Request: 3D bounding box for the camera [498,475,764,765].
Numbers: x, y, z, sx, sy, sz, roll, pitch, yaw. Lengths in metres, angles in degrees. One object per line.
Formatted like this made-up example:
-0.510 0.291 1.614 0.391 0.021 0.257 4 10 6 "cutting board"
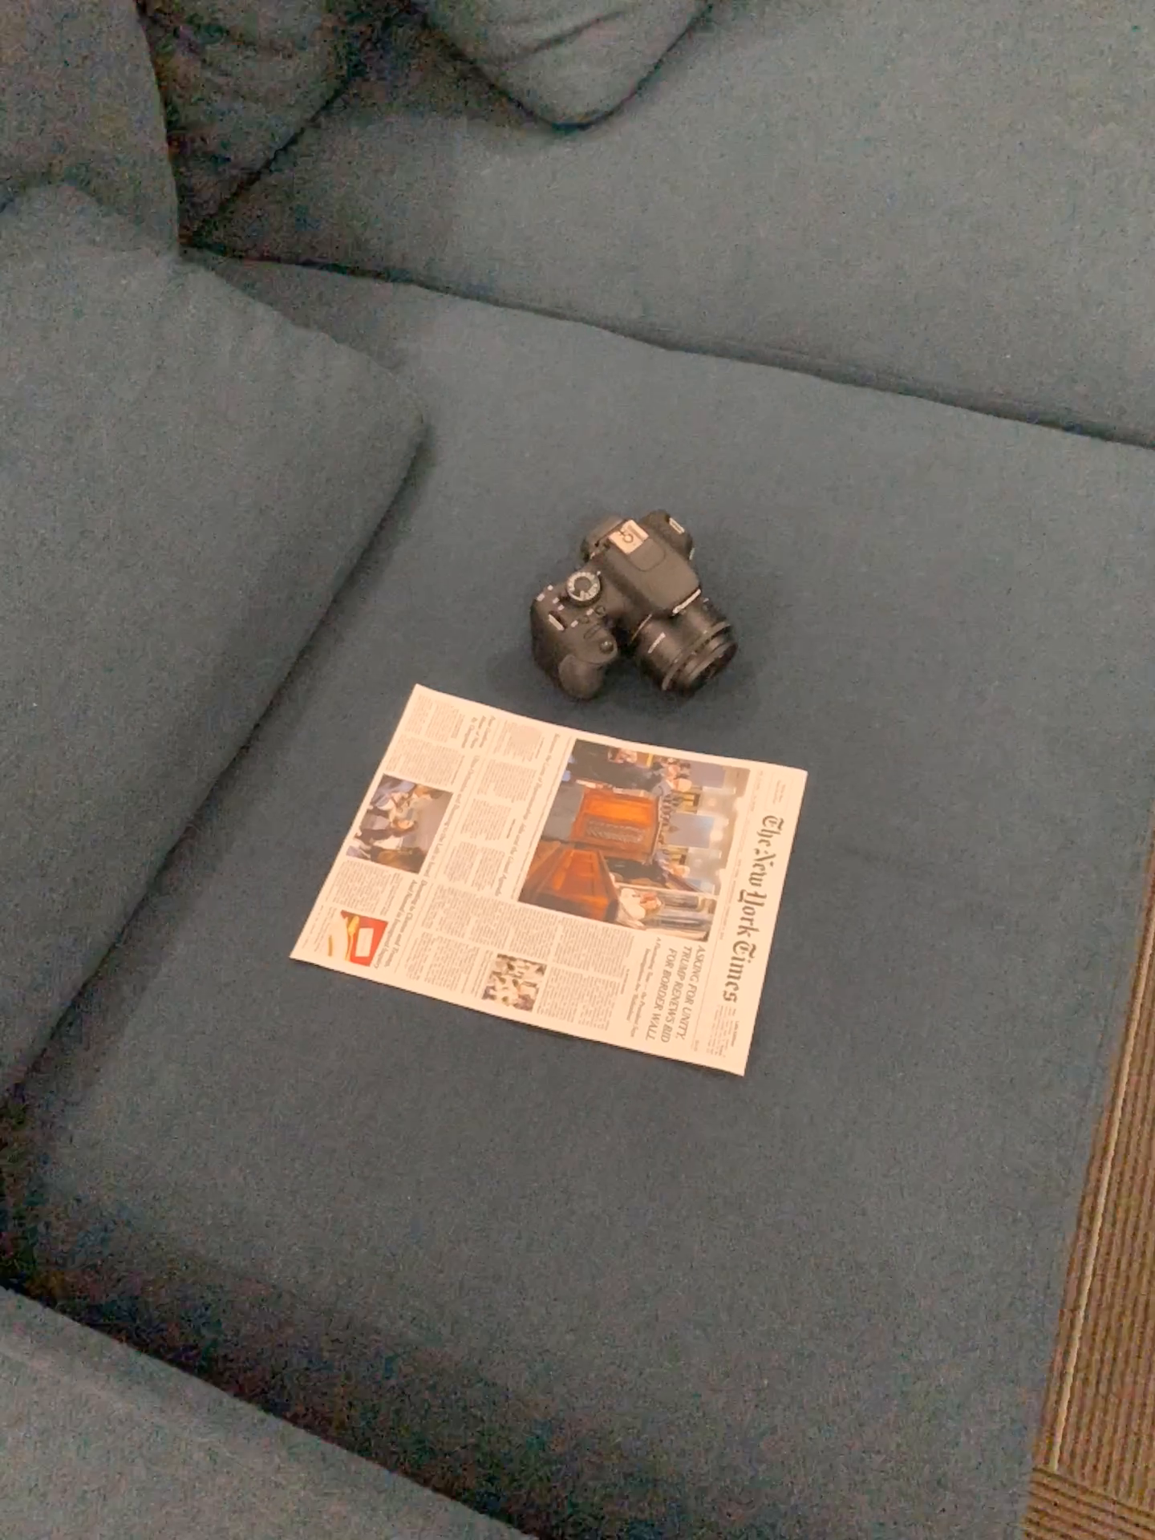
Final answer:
0.030 -0.096 0.772 0.120 0.100 0.108 -41 79 -17 "camera"
